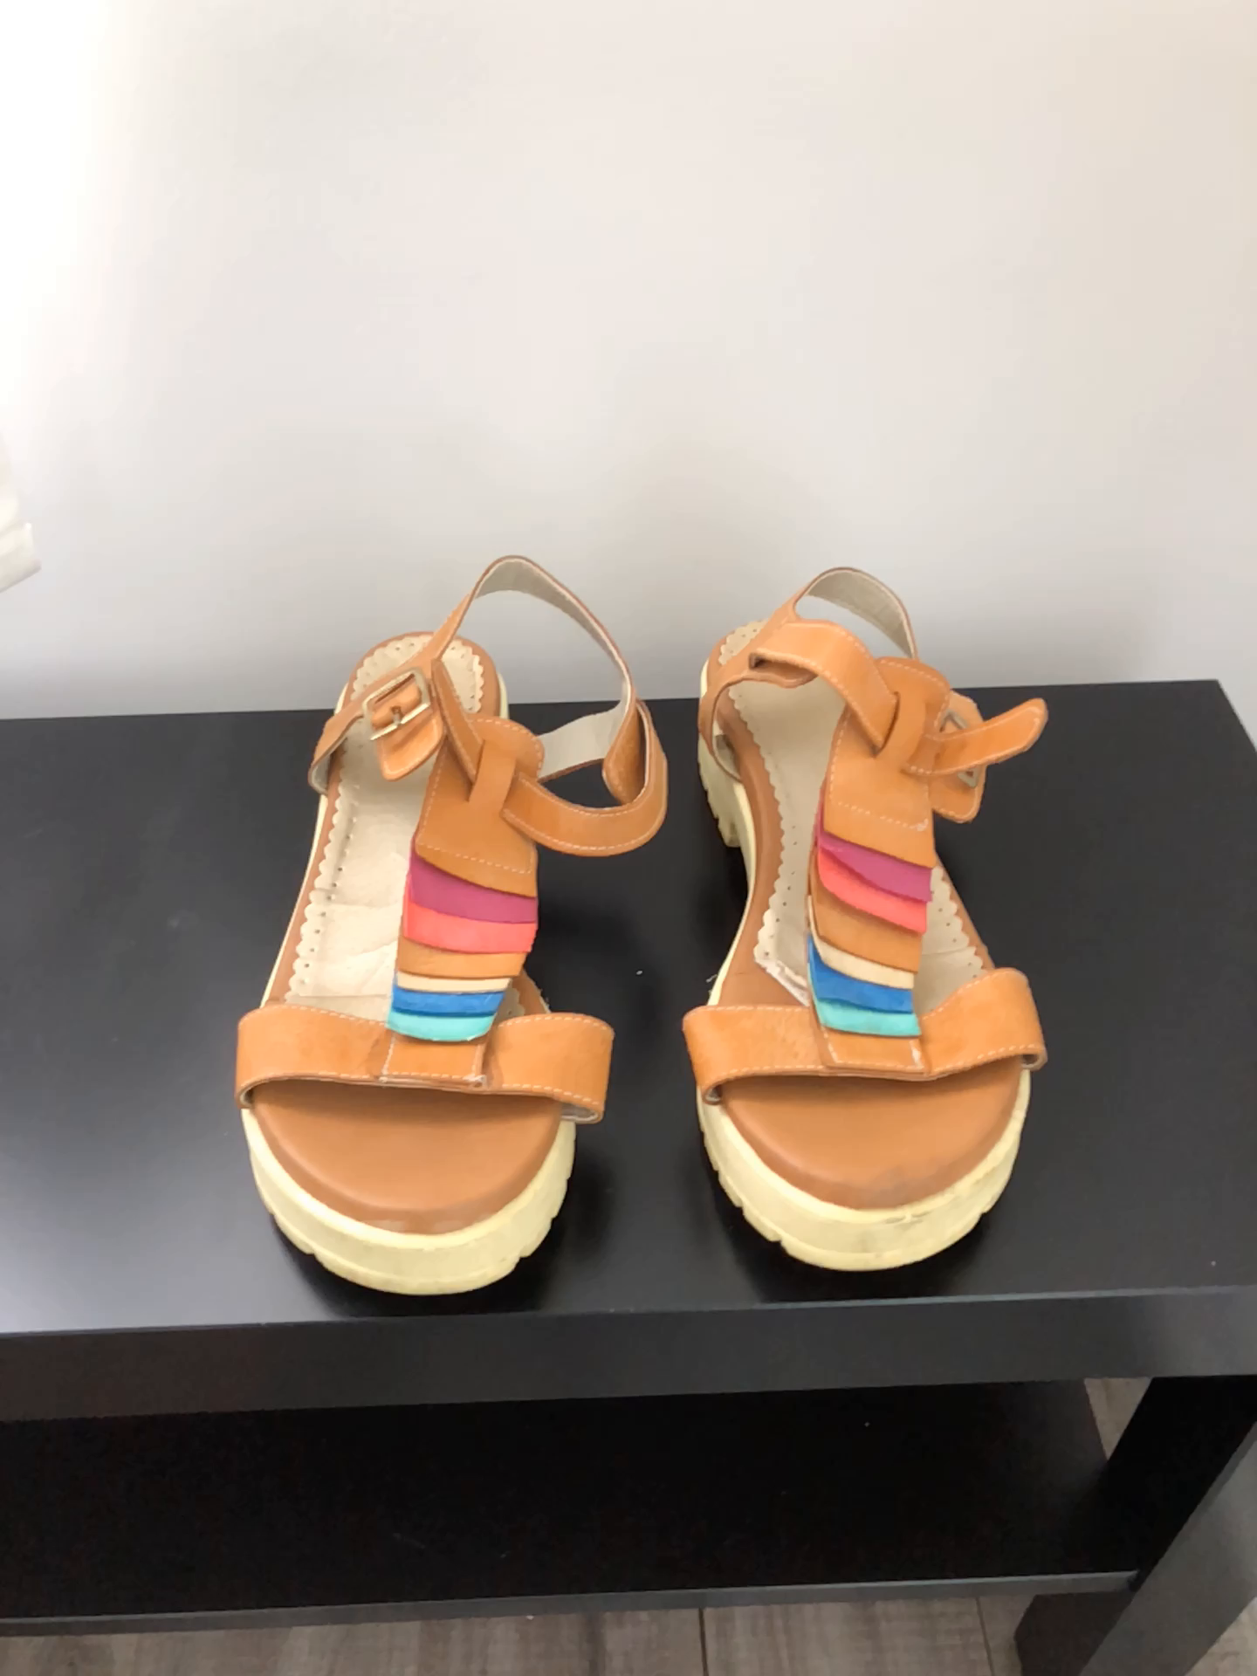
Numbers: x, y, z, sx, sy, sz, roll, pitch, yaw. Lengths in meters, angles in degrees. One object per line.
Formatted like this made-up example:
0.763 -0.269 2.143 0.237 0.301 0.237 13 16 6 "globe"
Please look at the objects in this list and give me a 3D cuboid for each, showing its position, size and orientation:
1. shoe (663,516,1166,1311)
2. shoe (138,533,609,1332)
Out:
0.064 0.004 0.410 0.100 0.077 0.248 -1 44 0 "shoe"
-0.057 0.011 0.417 0.100 0.083 0.248 -1 44 0 "shoe"
